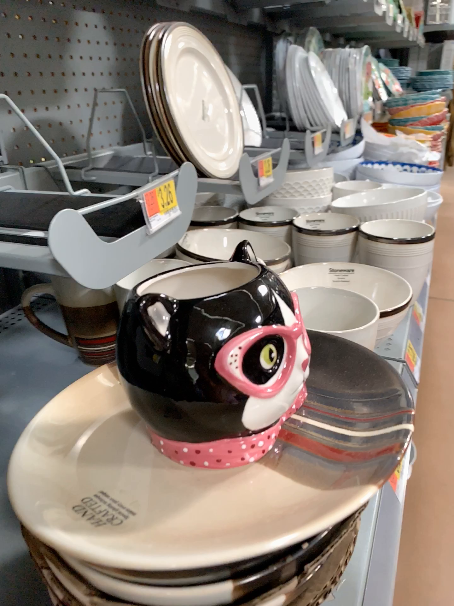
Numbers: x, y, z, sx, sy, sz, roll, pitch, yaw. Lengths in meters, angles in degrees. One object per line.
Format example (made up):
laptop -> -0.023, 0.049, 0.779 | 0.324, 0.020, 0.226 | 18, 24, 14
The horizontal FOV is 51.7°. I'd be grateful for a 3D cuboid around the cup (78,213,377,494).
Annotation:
cup -> 0.012, 0.009, 0.259 | 0.096, 0.074, 0.145 | 13, 29, 28
